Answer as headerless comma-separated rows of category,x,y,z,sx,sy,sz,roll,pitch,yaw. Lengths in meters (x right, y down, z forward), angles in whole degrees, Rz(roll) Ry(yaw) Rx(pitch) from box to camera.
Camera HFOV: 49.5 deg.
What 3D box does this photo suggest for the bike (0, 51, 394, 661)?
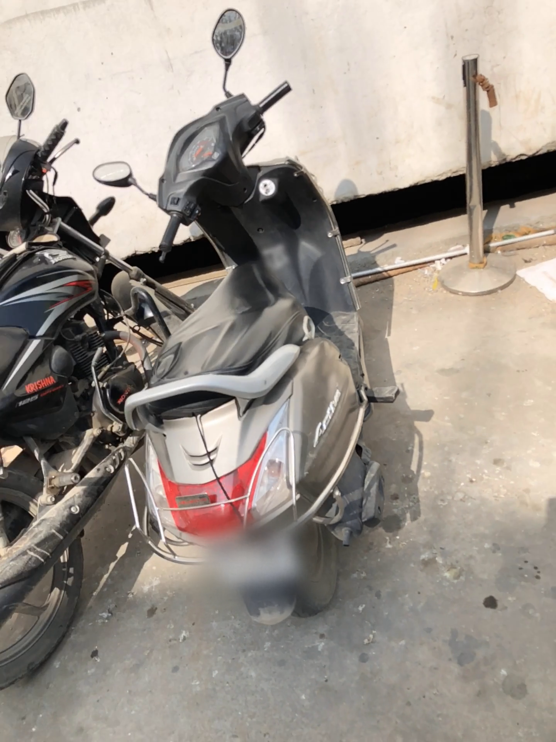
bike,-0.046,-0.167,1.855,0.616,1.107,1.507,-7,35,13
